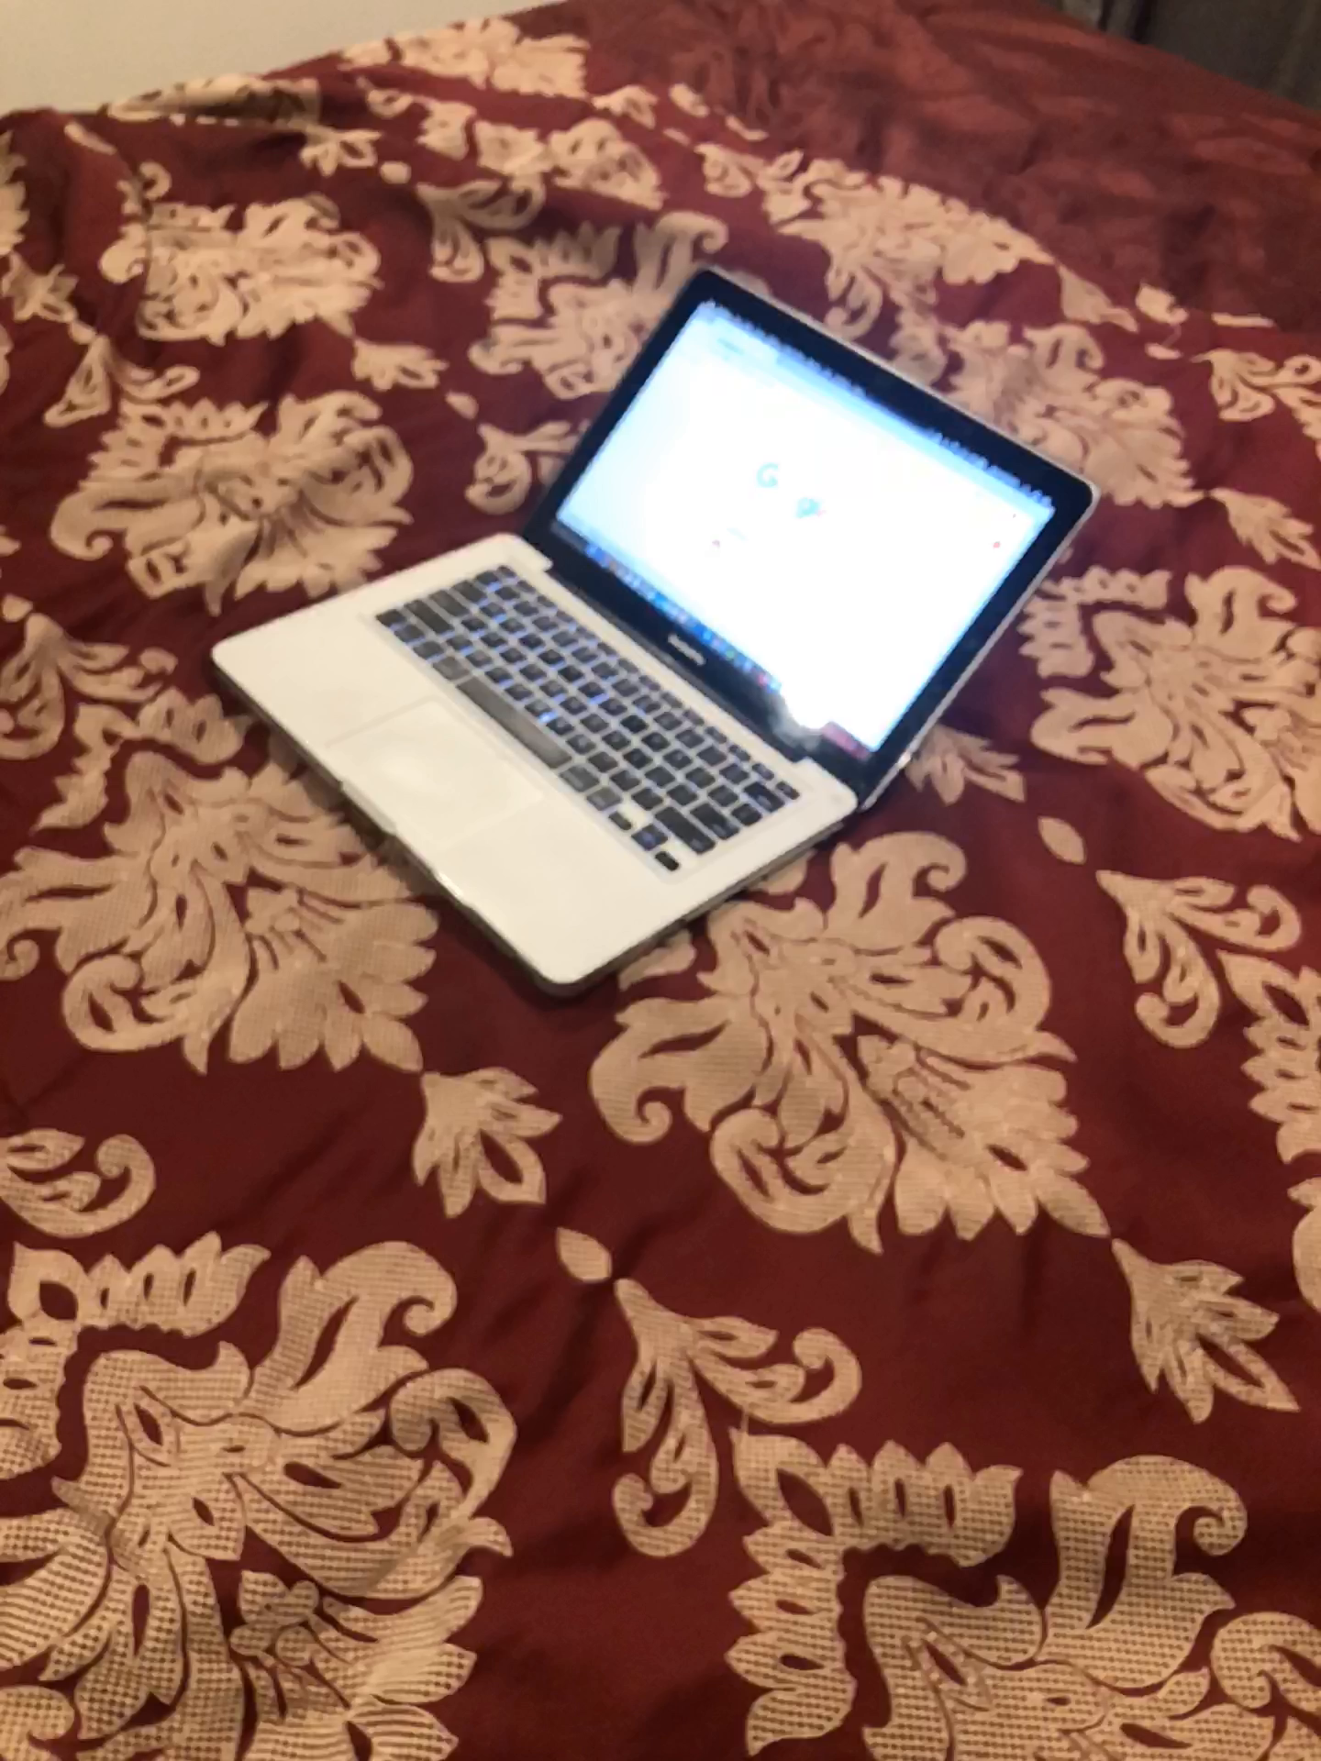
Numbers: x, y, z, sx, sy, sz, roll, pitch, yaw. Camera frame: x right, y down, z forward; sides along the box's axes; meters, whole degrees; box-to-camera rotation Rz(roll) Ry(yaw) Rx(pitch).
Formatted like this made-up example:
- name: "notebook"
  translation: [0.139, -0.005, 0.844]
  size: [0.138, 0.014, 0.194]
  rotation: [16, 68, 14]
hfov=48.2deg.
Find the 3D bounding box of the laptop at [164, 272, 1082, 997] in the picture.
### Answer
- name: "laptop"
  translation: [-0.015, -0.155, 0.768]
  size: [0.343, 0.133, 0.293]
  rotation: [-31, 58, -31]
